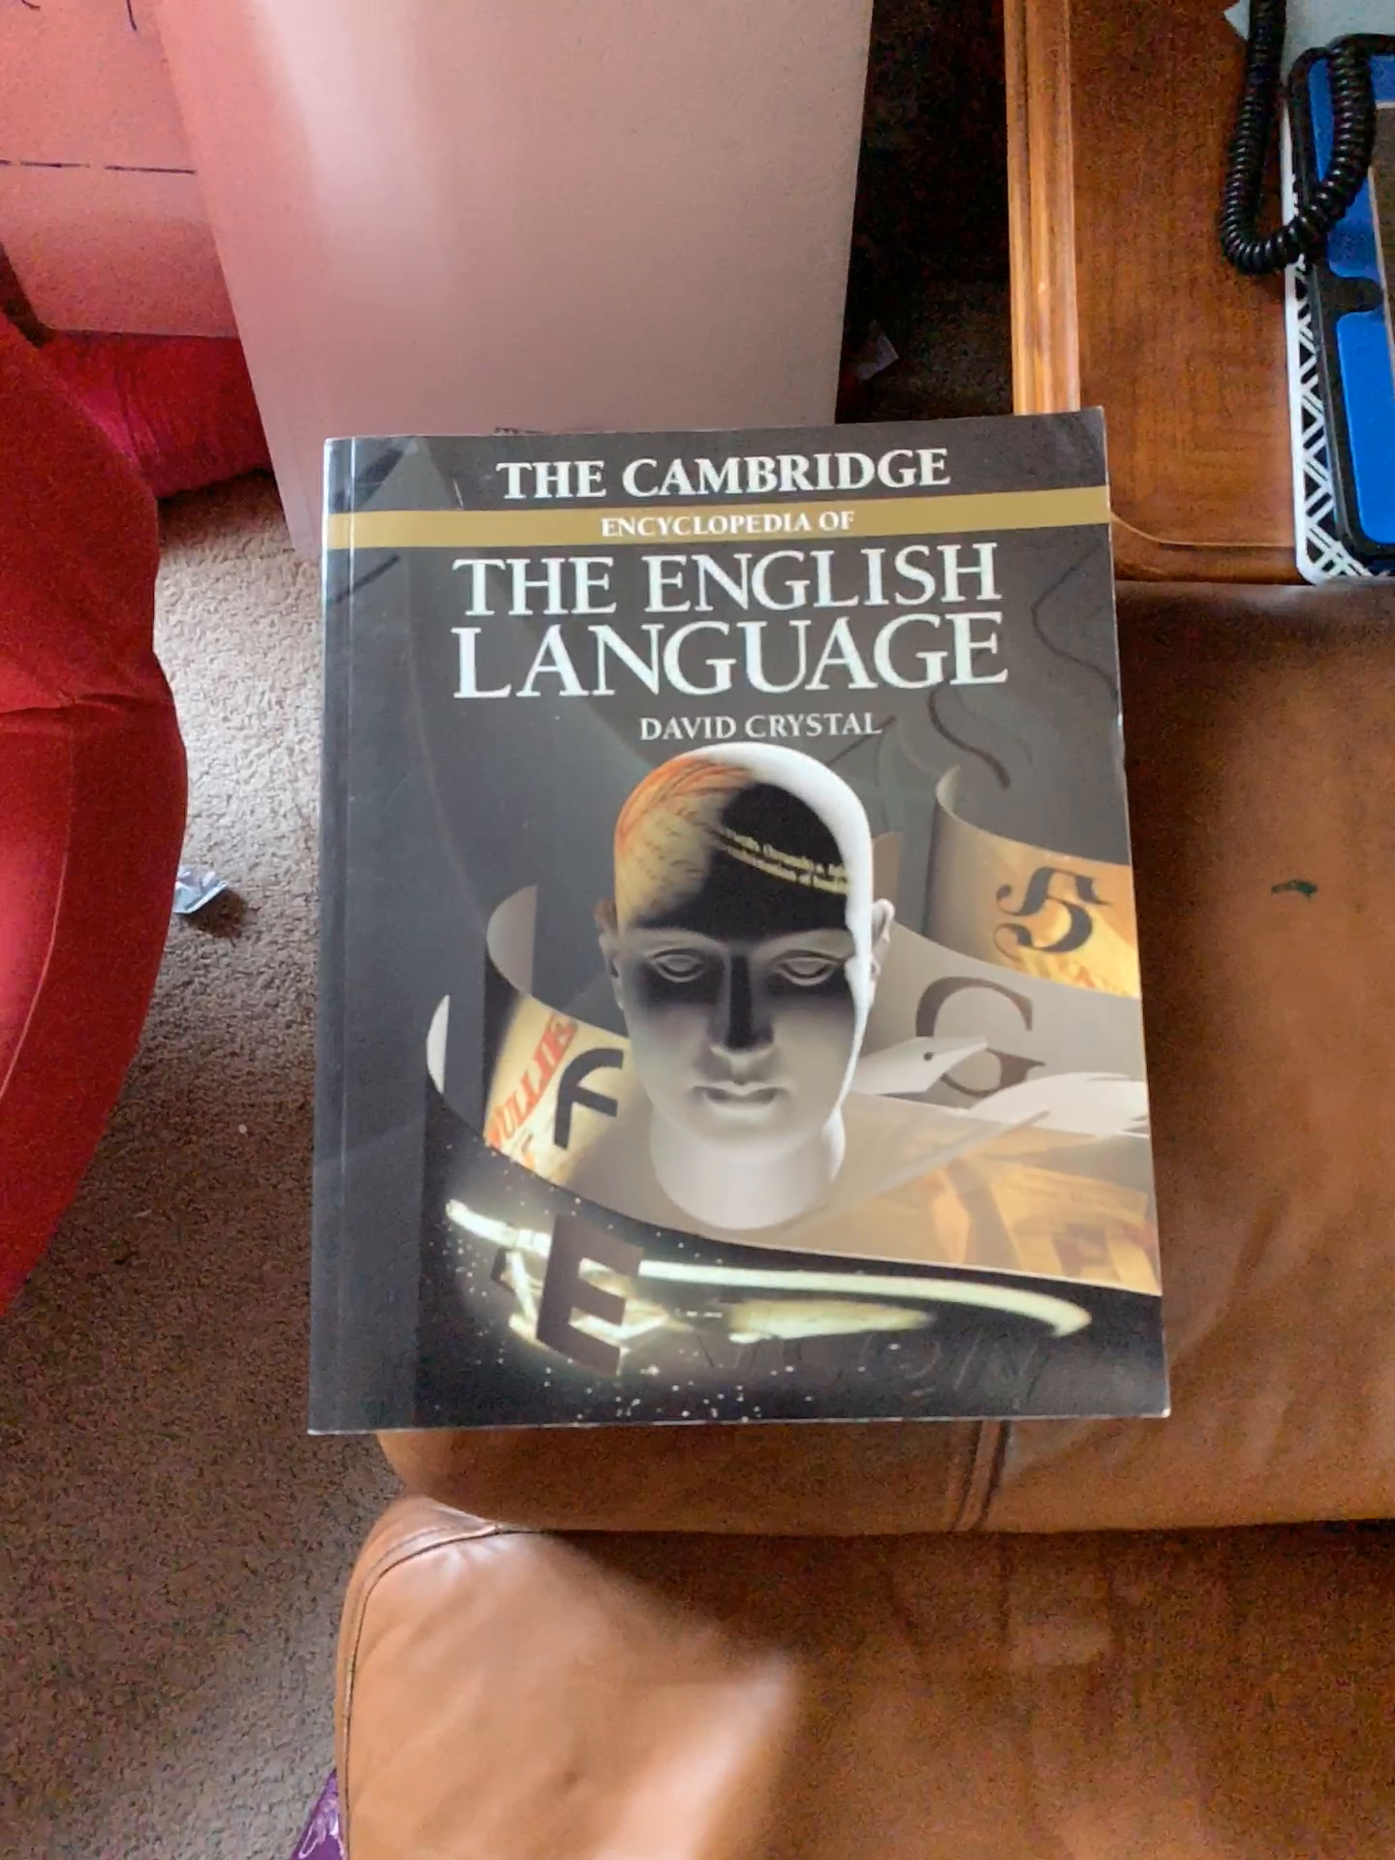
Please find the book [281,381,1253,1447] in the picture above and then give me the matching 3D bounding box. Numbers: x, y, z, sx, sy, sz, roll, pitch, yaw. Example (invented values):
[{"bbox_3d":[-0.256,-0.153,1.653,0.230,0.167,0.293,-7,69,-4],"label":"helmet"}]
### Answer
[{"bbox_3d":[0.014,-0.009,0.399,0.240,0.050,0.280,-1,80,-1],"label":"book"}]
